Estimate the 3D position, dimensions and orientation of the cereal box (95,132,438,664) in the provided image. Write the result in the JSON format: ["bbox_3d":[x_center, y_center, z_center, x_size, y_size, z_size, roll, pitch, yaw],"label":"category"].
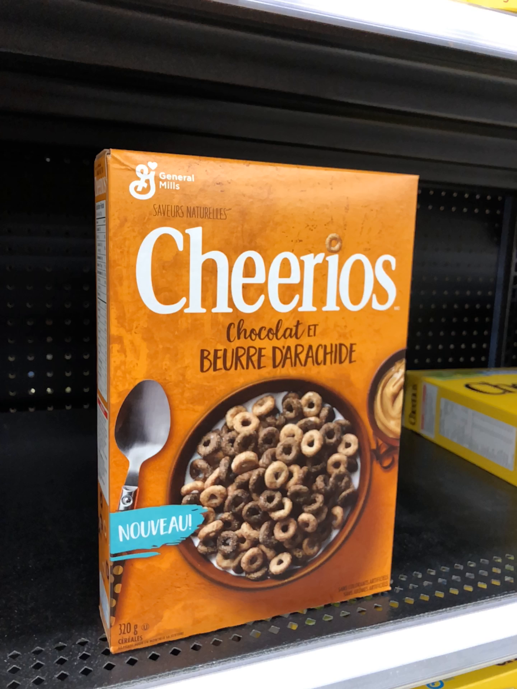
[{"bbox_3d":[0.002,0.031,0.370,0.200,0.289,0.060,-1,10,-22],"label":"cereal box"}]
